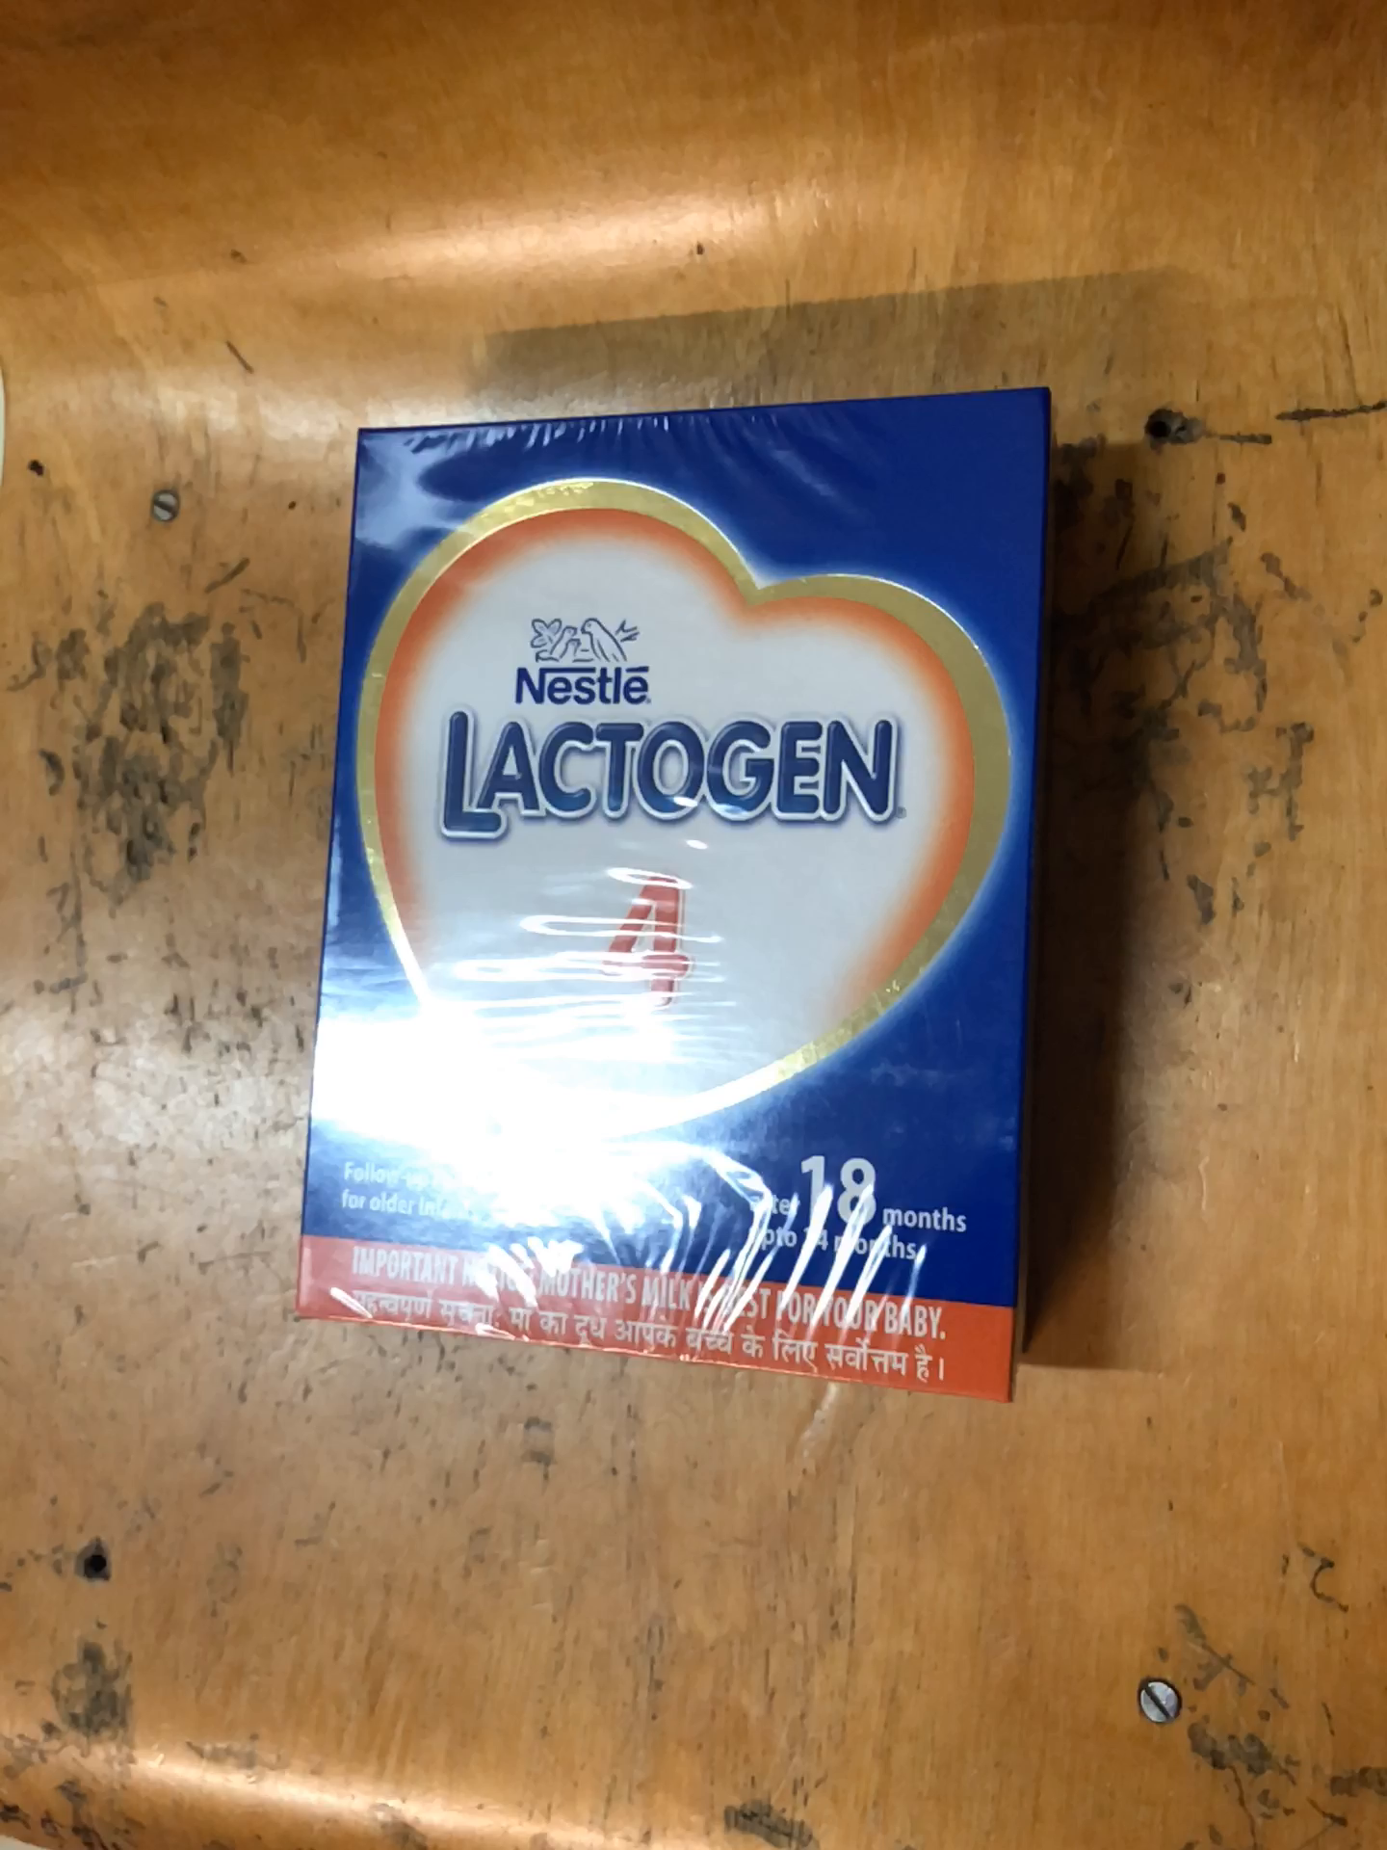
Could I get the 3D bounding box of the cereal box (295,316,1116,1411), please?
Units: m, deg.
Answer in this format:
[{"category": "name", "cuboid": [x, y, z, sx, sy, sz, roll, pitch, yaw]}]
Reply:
[{"category": "cereal box", "cuboid": [0.006, -0.013, 0.316, 0.150, 0.060, 0.190, 1, 87, 16]}]
